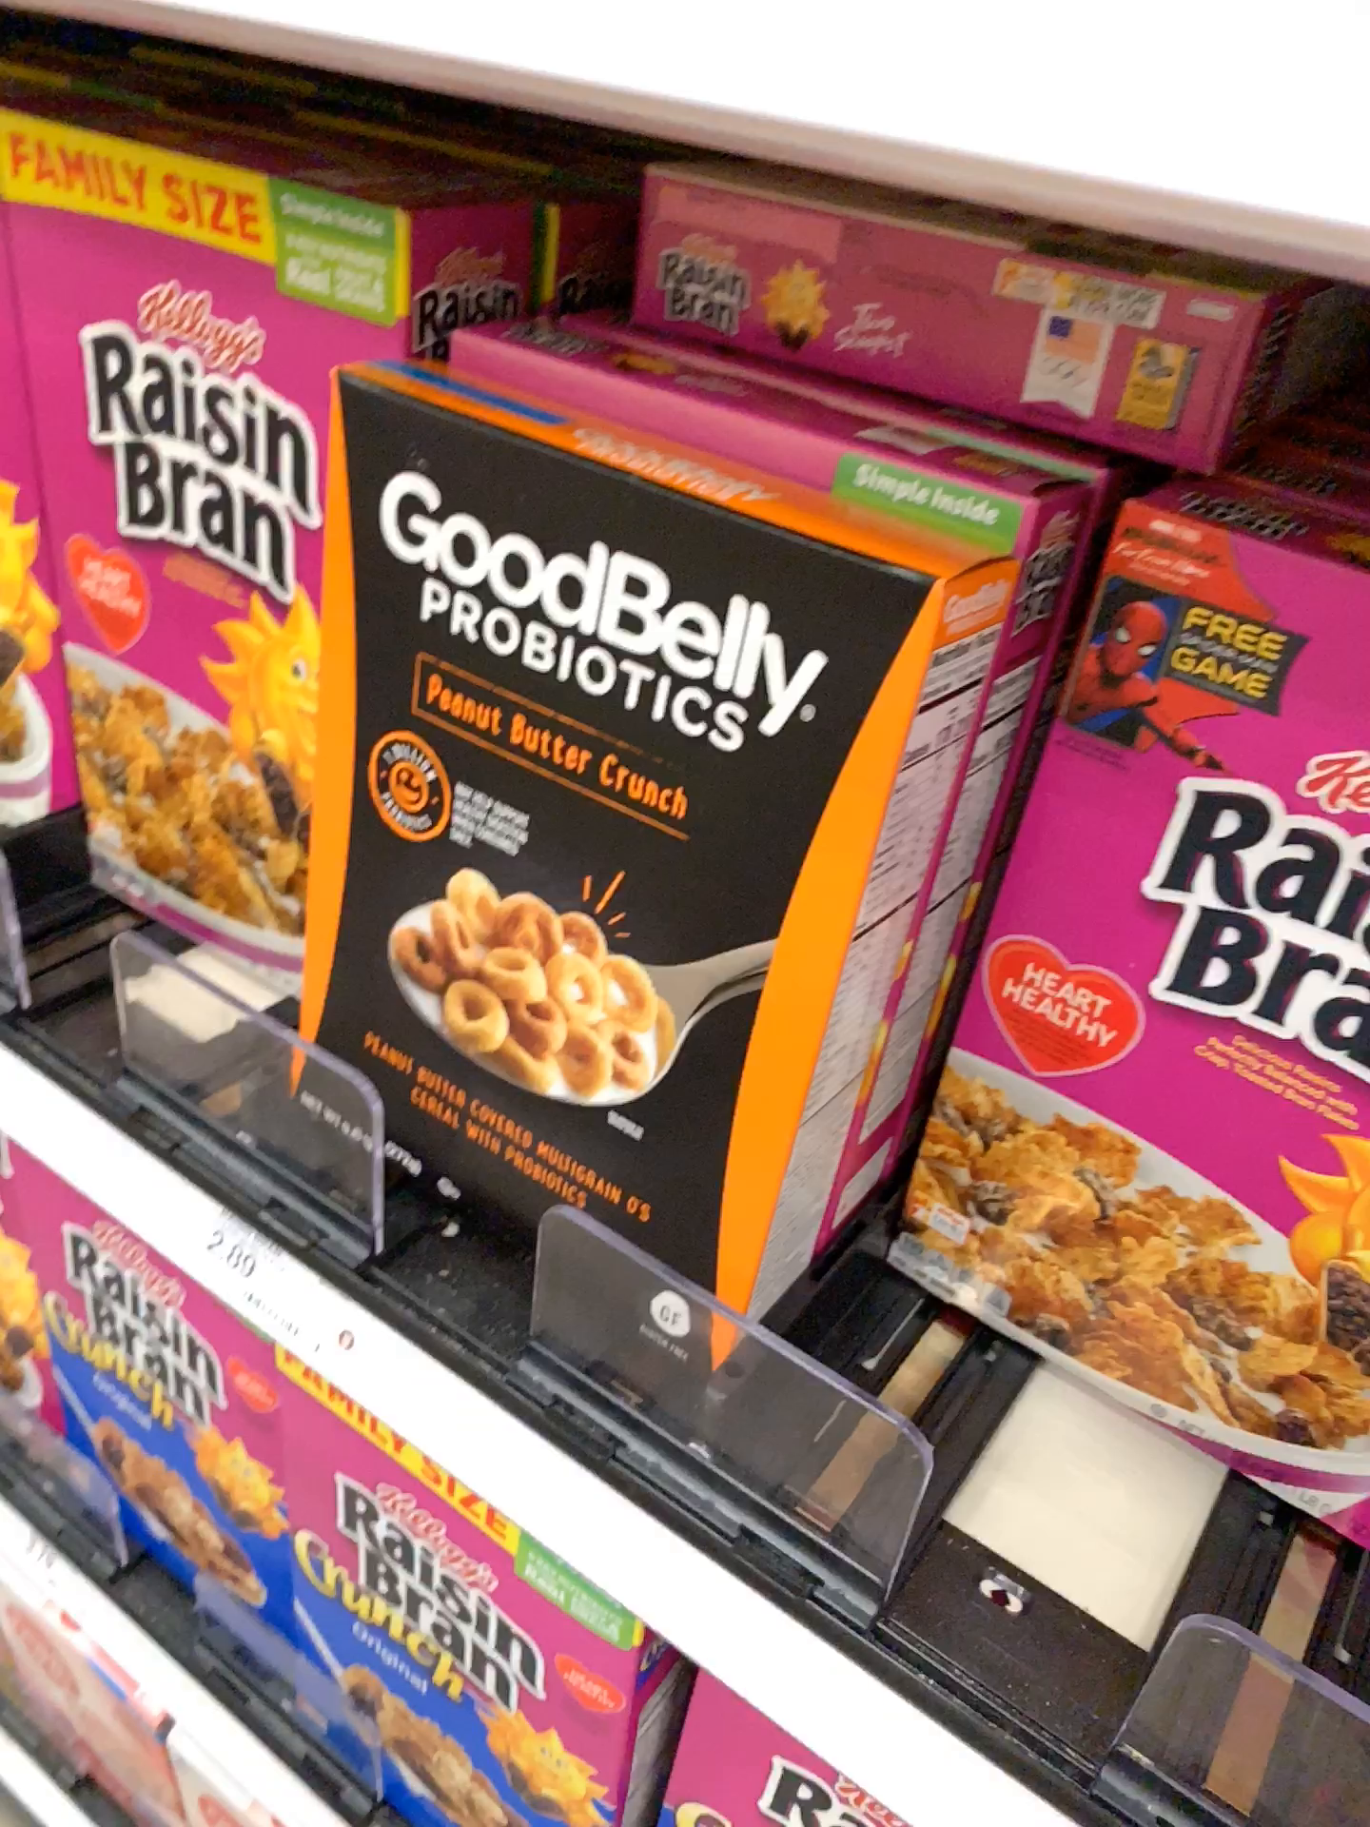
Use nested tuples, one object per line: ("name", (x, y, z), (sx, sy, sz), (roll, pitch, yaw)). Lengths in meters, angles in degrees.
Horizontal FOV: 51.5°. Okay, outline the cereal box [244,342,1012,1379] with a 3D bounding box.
("cereal box", (-0.038, -0.017, 0.426), (0.200, 0.249, 0.050), (26, 30, 25))
